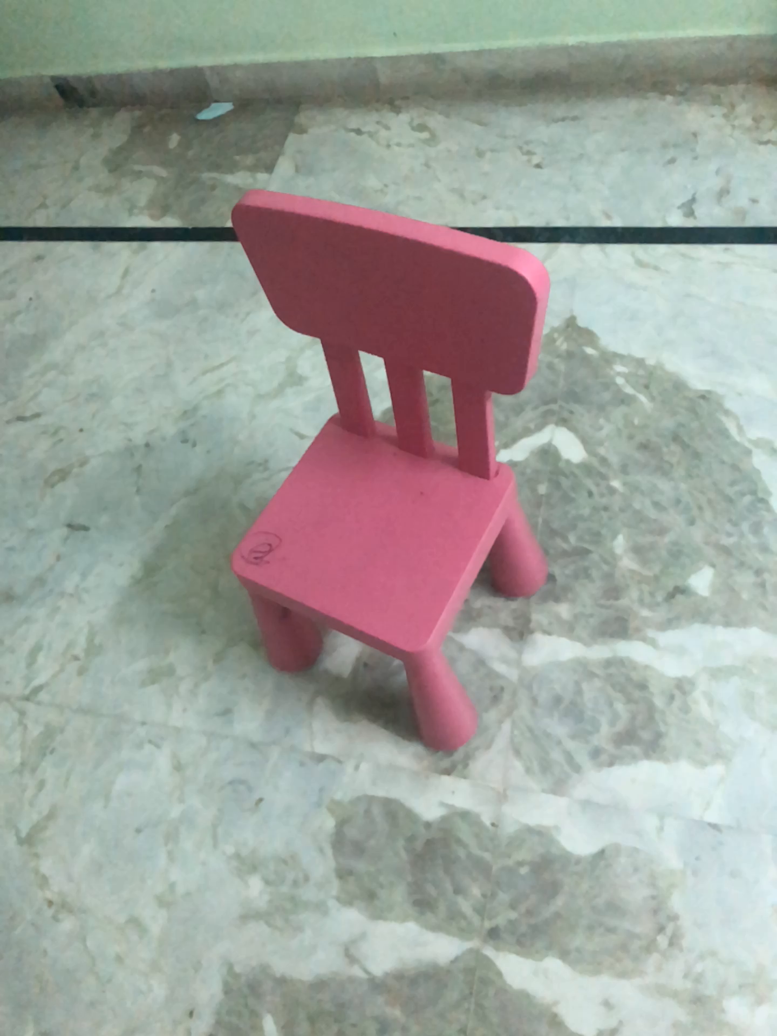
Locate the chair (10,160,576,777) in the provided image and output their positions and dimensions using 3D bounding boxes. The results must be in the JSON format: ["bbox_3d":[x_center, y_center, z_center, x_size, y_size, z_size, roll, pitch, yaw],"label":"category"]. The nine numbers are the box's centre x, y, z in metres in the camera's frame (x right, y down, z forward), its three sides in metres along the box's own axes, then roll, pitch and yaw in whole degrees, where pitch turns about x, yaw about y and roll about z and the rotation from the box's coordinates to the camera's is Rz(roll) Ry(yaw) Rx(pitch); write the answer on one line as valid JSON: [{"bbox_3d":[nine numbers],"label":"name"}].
[{"bbox_3d":[-0.033,-0.020,1.055,0.401,0.627,0.381,20,66,23],"label":"chair"}]
